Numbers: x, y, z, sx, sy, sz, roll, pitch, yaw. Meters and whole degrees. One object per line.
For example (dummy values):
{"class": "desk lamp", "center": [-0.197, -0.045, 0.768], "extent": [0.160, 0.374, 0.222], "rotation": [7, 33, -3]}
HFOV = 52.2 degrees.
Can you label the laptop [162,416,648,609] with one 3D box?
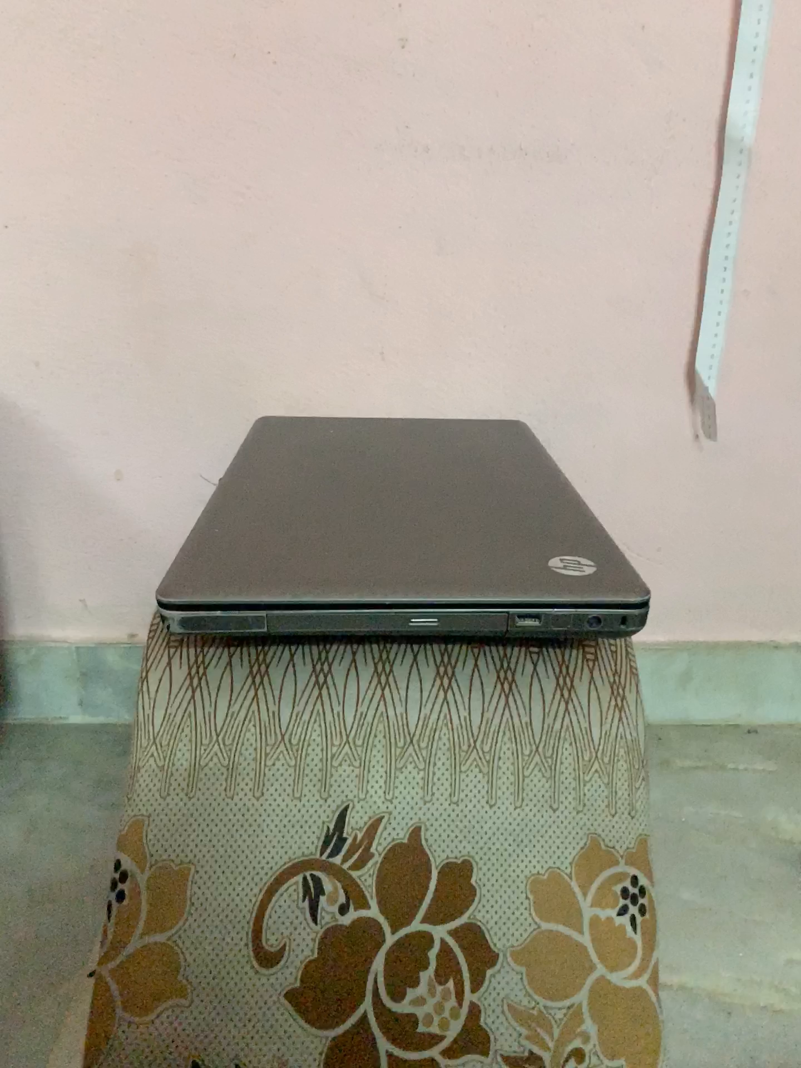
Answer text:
{"class": "laptop", "center": [-0.002, -0.036, 0.595], "extent": [0.249, 0.002, 0.381], "rotation": [1, 22, -2]}
